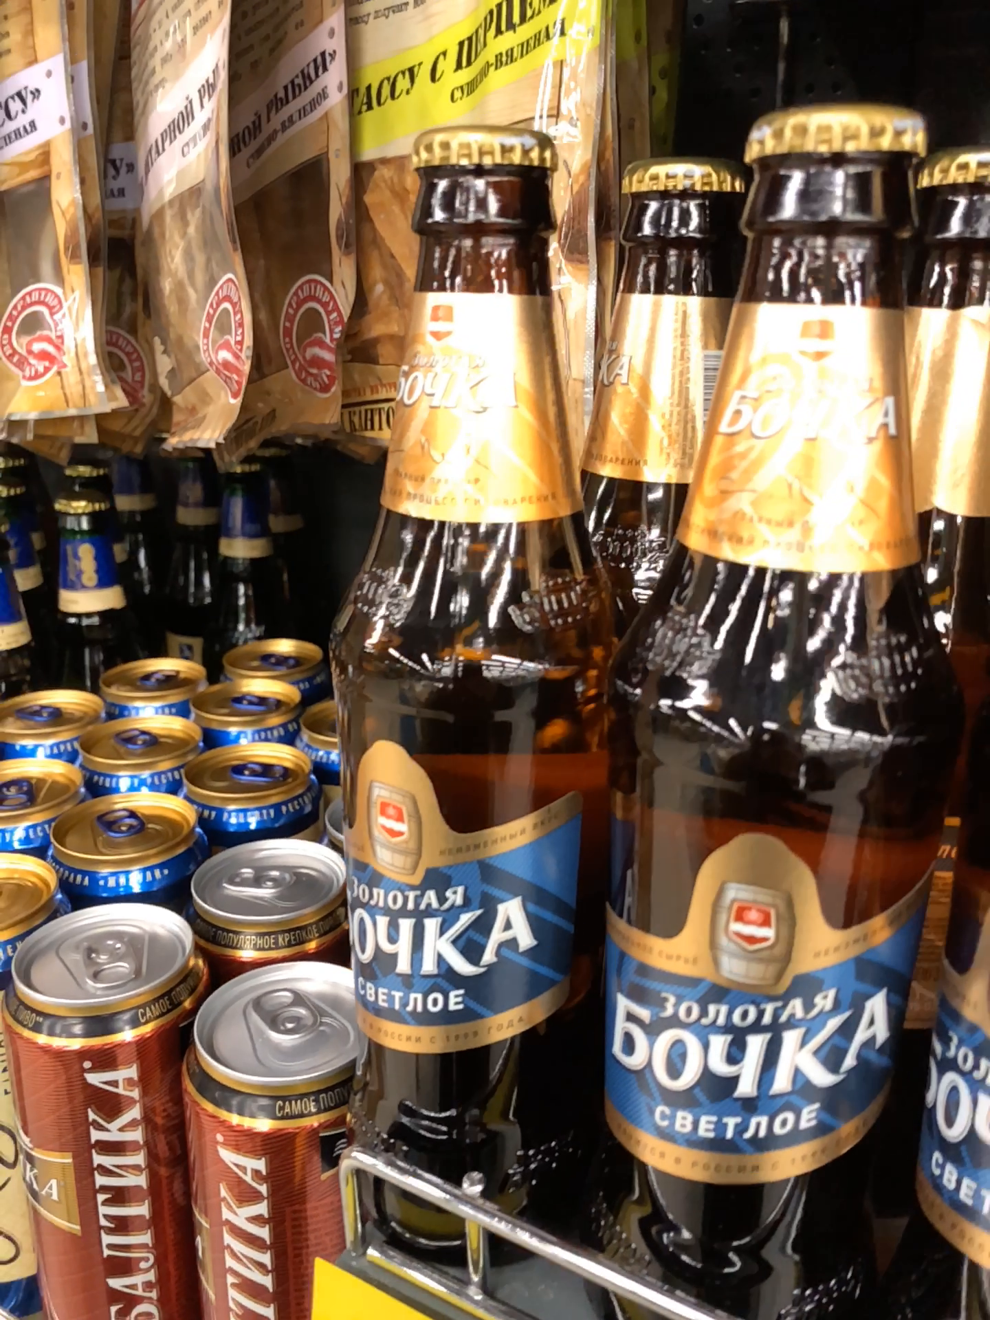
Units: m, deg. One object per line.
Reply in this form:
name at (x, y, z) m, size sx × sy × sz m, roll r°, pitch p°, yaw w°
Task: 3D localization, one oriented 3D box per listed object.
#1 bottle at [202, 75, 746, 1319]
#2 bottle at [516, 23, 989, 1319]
bottle at (-0.004, 0.013, 0.236) m, size 0.070 × 0.234 × 0.070 m, roll 0°, pitch 19°, yaw 0°
bottle at (0.047, 0.024, 0.201) m, size 0.070 × 0.234 × 0.060 m, roll 6°, pitch 19°, yaw 15°
